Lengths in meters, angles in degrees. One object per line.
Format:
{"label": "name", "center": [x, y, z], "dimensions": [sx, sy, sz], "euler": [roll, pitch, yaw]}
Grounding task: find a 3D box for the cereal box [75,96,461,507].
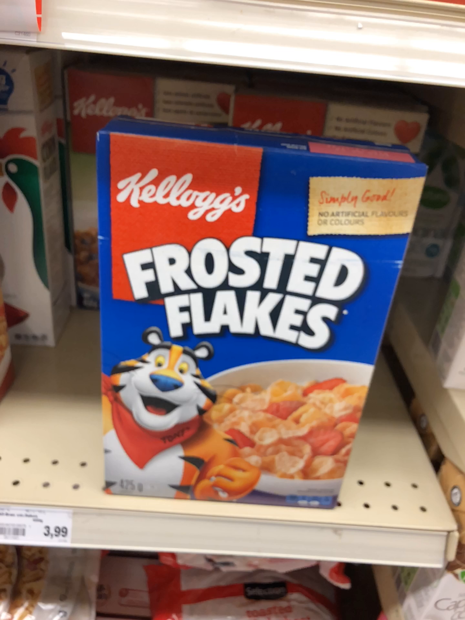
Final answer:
{"label": "cereal box", "center": [0.008, 0.010, 0.373], "dimensions": [0.210, 0.278, 0.060], "euler": [5, 27, -1]}
